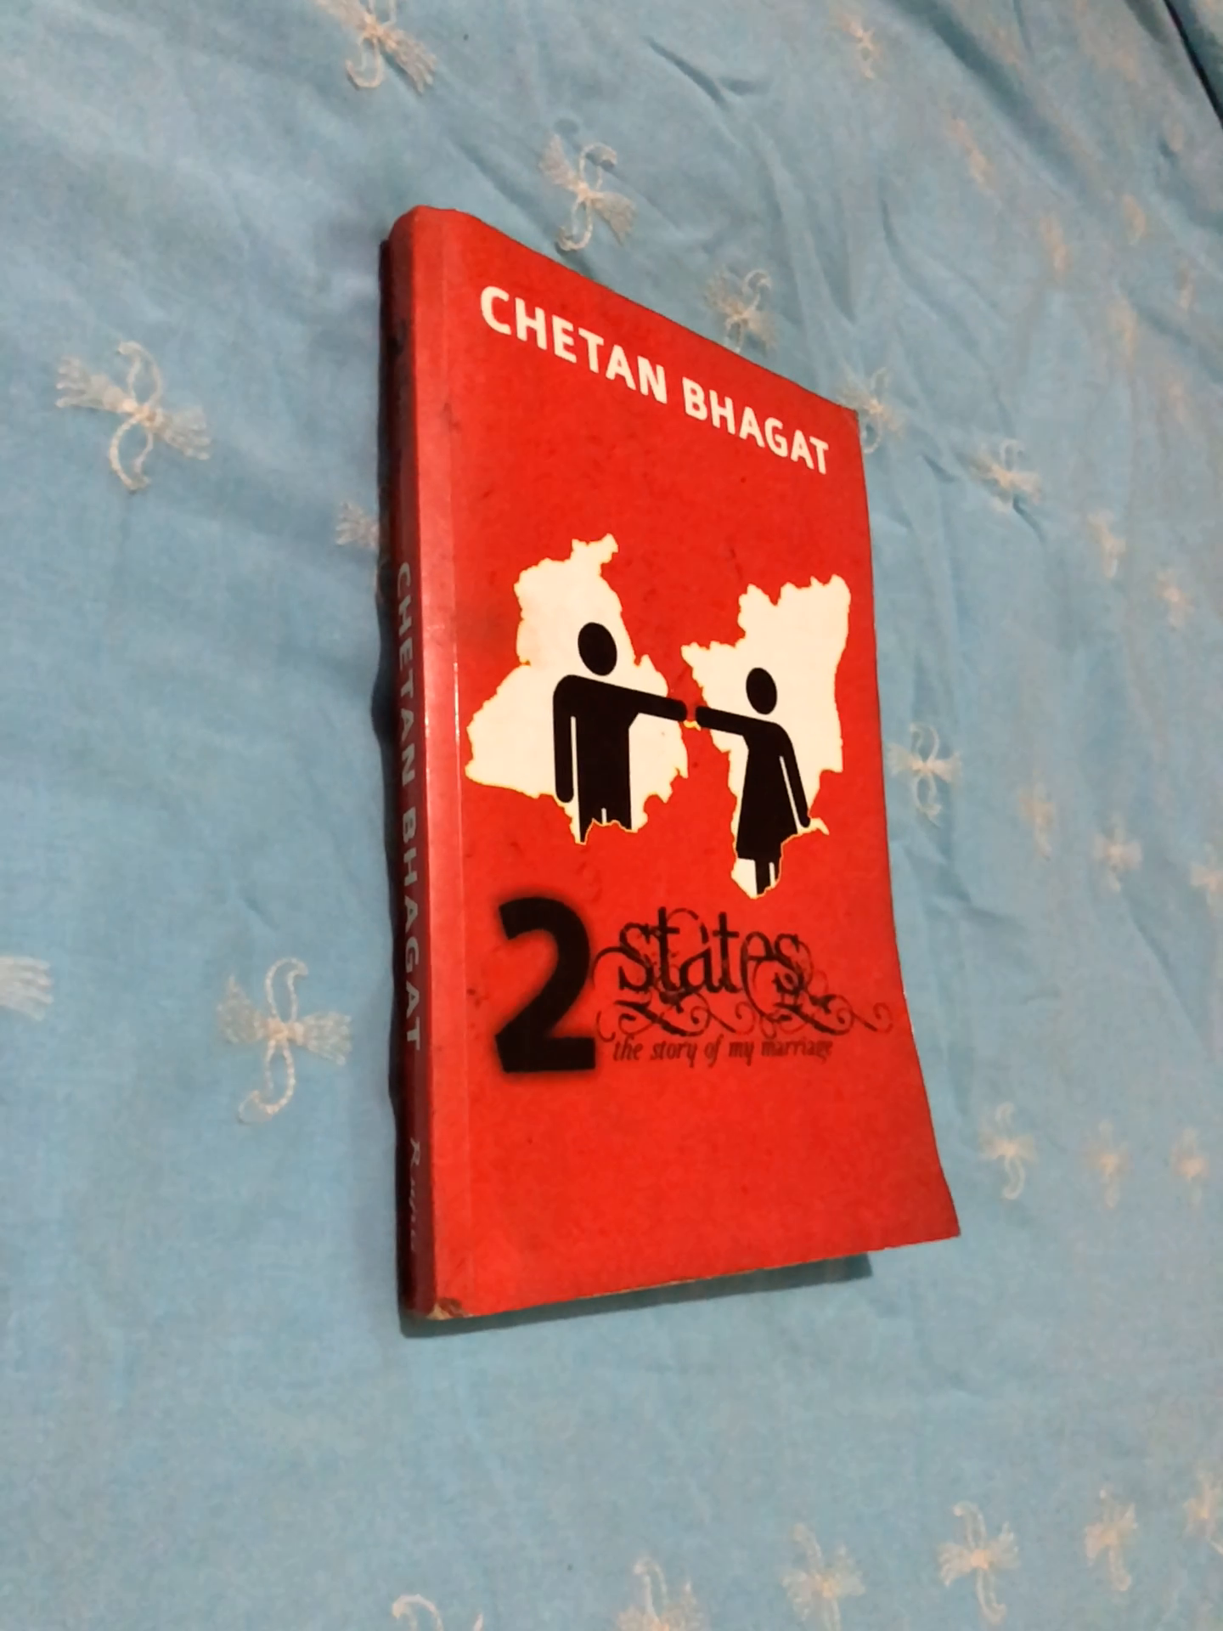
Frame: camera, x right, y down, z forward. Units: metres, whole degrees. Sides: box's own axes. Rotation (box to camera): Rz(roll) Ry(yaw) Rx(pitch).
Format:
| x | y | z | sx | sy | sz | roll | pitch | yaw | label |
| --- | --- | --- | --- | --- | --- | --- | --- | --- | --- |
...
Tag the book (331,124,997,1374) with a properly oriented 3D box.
| x | y | z | sx | sy | sz | roll | pitch | yaw | label |
| --- | --- | --- | --- | --- | --- | --- | --- | --- | --- |
| 0.015 | -0.010 | 0.270 | 0.141 | 0.030 | 0.200 | 9 | 73 | -44 | book |
